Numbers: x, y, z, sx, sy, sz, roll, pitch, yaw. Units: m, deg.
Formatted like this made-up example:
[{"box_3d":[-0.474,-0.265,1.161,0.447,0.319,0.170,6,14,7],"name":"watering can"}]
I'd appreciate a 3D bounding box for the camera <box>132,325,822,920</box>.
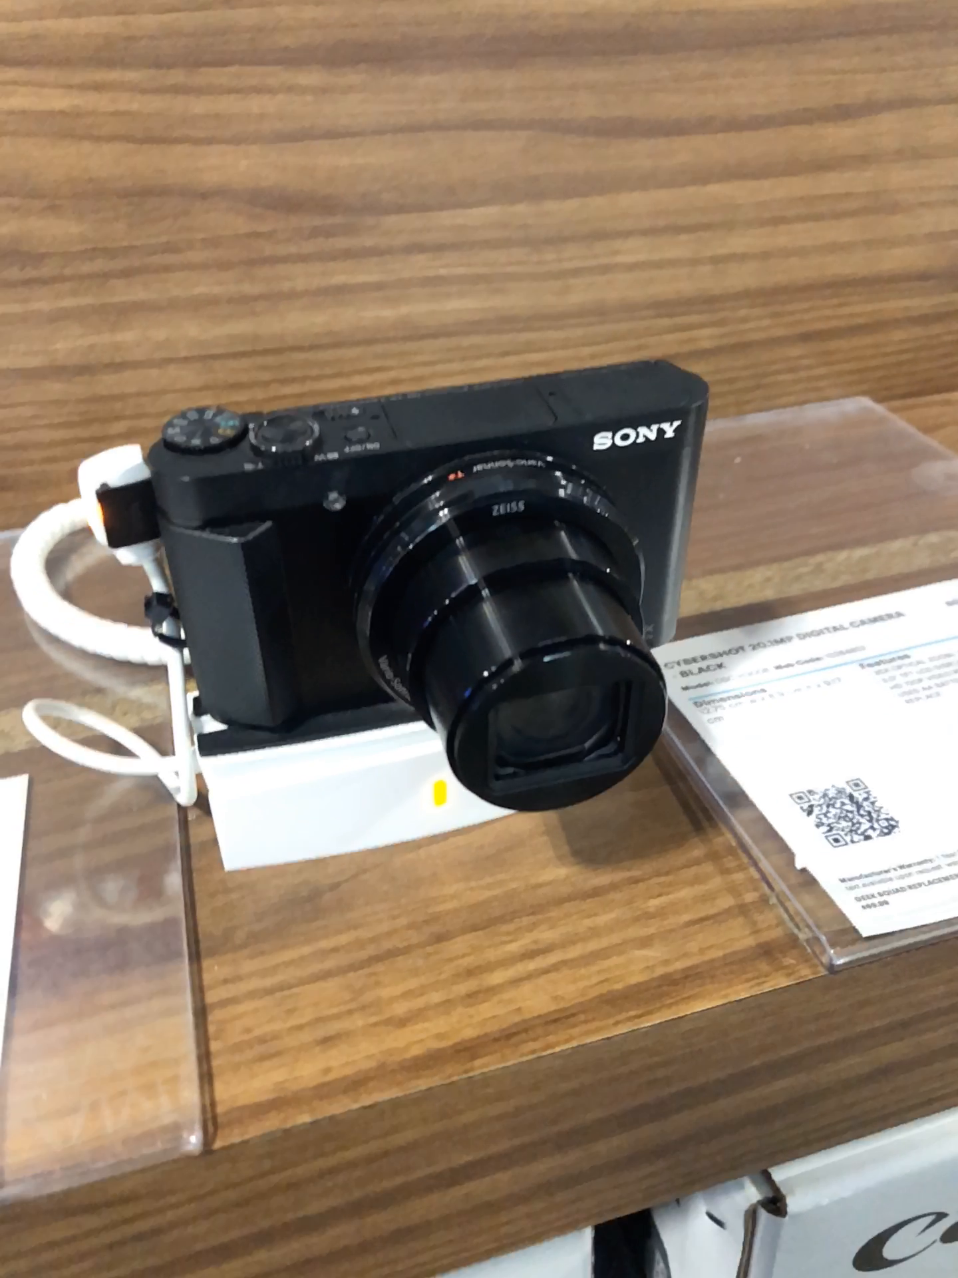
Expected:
[{"box_3d":[-0.003,-0.008,0.192,0.100,0.070,0.060,-11,32,-12],"name":"camera"}]
